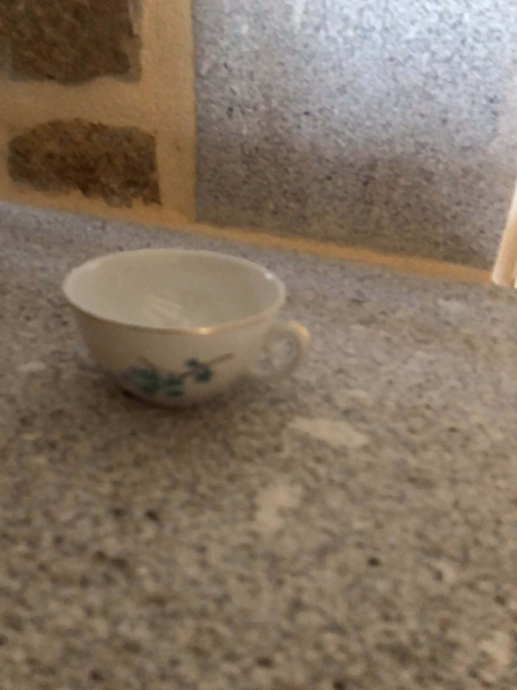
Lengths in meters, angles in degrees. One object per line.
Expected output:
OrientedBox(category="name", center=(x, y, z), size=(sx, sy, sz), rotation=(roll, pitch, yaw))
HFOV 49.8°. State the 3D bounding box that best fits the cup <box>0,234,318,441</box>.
OrientedBox(category="cup", center=(-0.035, -0.010, 0.238), size=(0.110, 0.040, 0.091), rotation=(8, 26, 7))
